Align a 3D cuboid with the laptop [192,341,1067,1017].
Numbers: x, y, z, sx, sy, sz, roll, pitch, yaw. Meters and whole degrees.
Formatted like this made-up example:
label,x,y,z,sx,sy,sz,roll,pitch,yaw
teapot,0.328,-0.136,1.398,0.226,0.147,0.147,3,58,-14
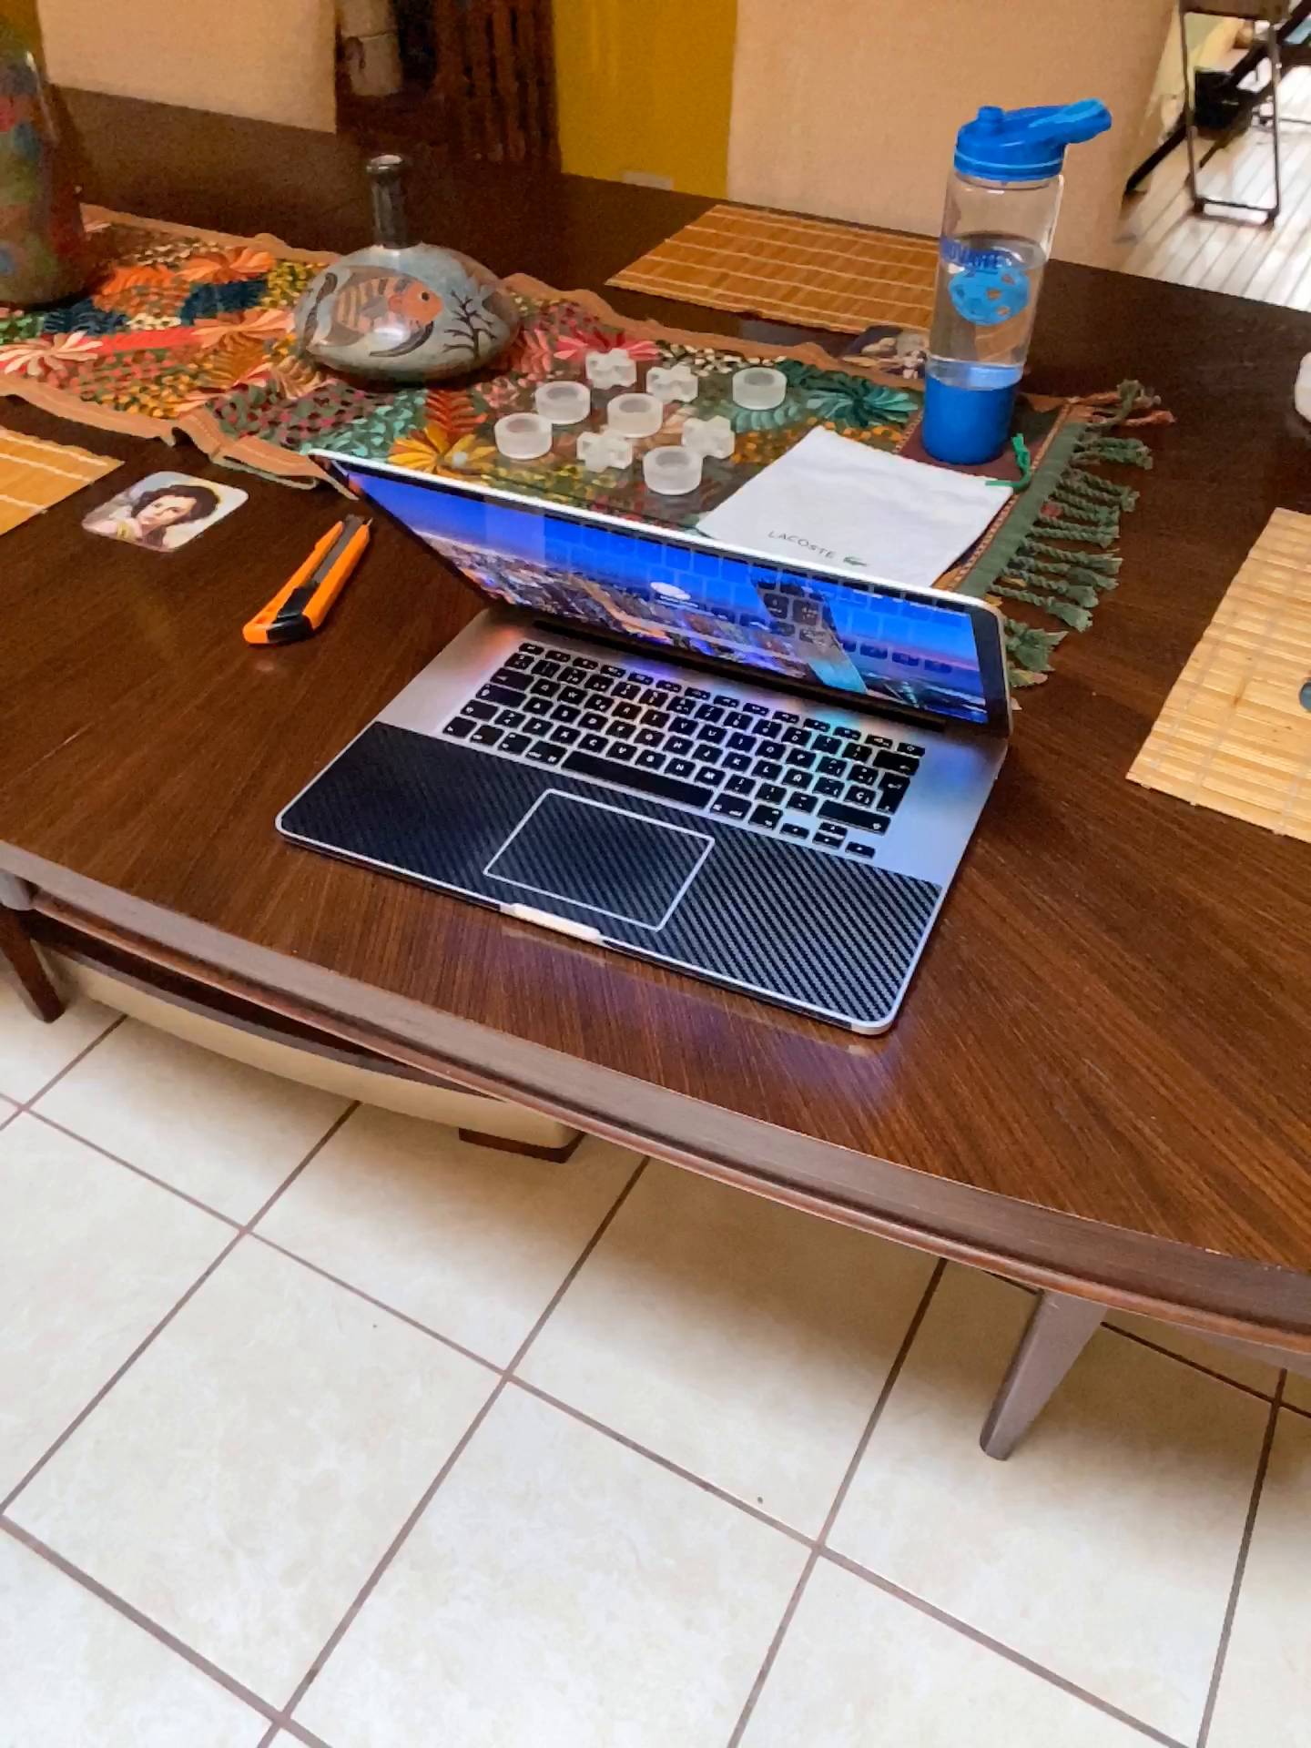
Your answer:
label,x,y,z,sx,sy,sz,roll,pitch,yaw
laptop,-0.004,-0.121,0.707,0.354,0.181,0.236,17,46,18
